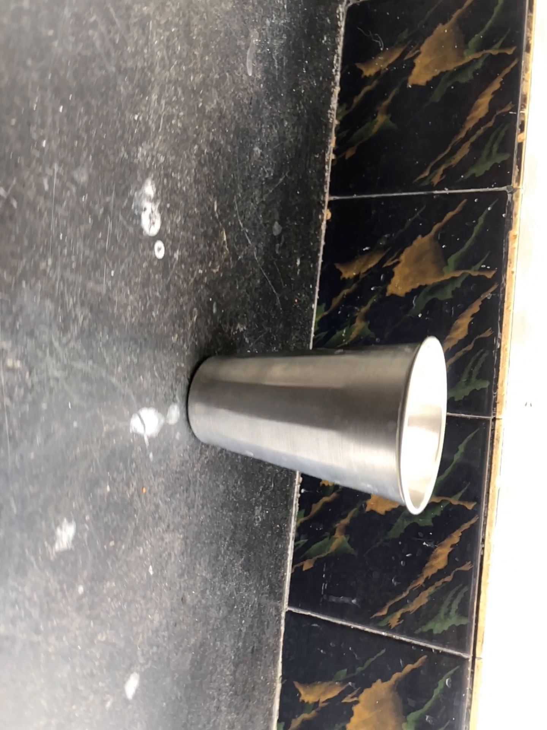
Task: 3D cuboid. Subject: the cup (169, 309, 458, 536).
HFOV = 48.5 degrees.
[{"bbox_3d":[0.022,0.020,0.300,0.070,0.119,0.080,-31,122,-60],"label":"cup"}]
